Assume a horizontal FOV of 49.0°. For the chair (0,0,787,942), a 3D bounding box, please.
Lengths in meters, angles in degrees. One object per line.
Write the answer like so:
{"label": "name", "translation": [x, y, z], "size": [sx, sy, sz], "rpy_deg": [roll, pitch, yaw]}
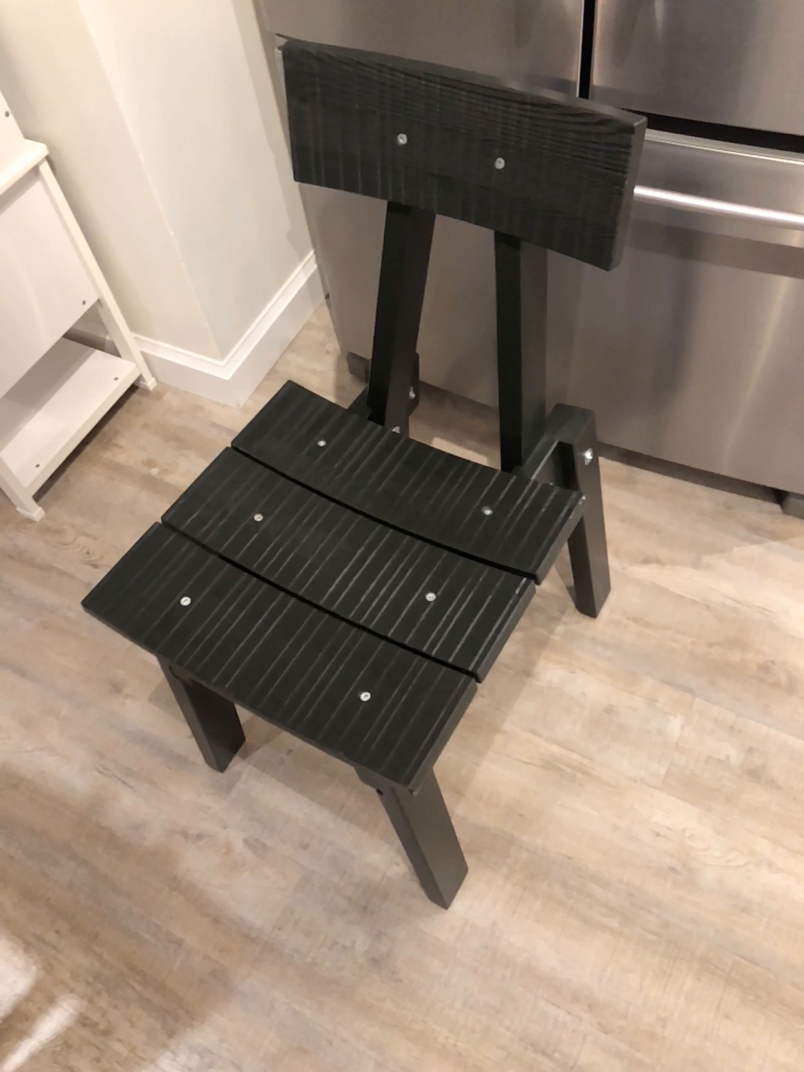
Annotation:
{"label": "chair", "translation": [-0.037, -0.017, 0.942], "size": [0.521, 0.796, 0.511], "rpy_deg": [25, 63, 22]}
